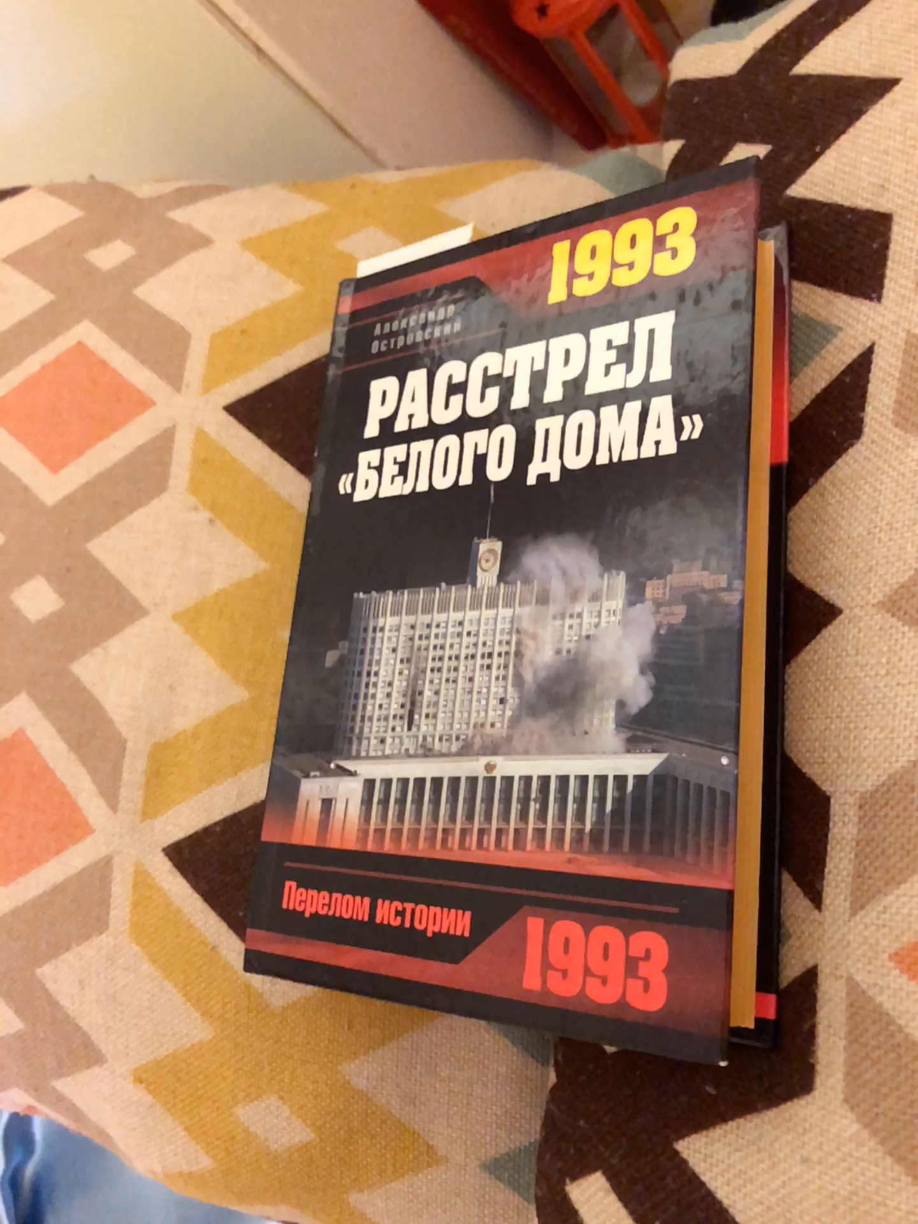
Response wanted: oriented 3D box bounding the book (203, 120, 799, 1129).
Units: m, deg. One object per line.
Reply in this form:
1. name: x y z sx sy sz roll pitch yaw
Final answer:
1. book: 0.010 -0.002 0.257 0.140 0.030 0.210 -5 72 36
